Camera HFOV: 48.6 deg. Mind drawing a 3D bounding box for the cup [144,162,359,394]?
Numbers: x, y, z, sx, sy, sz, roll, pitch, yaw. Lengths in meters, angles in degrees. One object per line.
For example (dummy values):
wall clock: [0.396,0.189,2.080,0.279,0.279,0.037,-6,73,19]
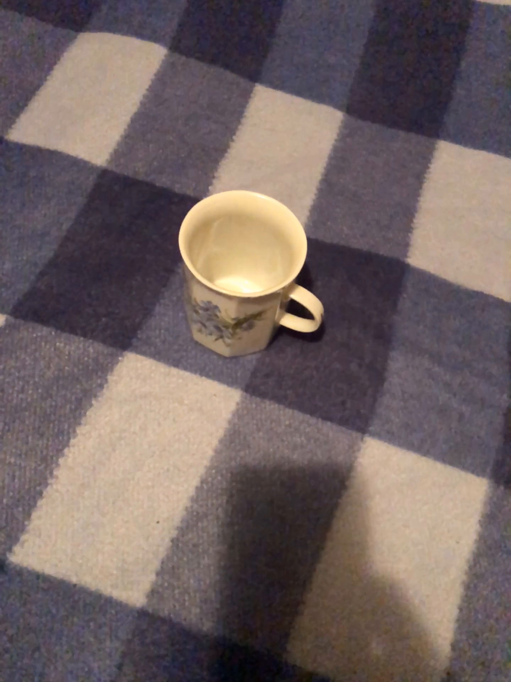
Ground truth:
cup: [-0.004,-0.038,0.371,0.098,0.094,0.077,31,66,11]
